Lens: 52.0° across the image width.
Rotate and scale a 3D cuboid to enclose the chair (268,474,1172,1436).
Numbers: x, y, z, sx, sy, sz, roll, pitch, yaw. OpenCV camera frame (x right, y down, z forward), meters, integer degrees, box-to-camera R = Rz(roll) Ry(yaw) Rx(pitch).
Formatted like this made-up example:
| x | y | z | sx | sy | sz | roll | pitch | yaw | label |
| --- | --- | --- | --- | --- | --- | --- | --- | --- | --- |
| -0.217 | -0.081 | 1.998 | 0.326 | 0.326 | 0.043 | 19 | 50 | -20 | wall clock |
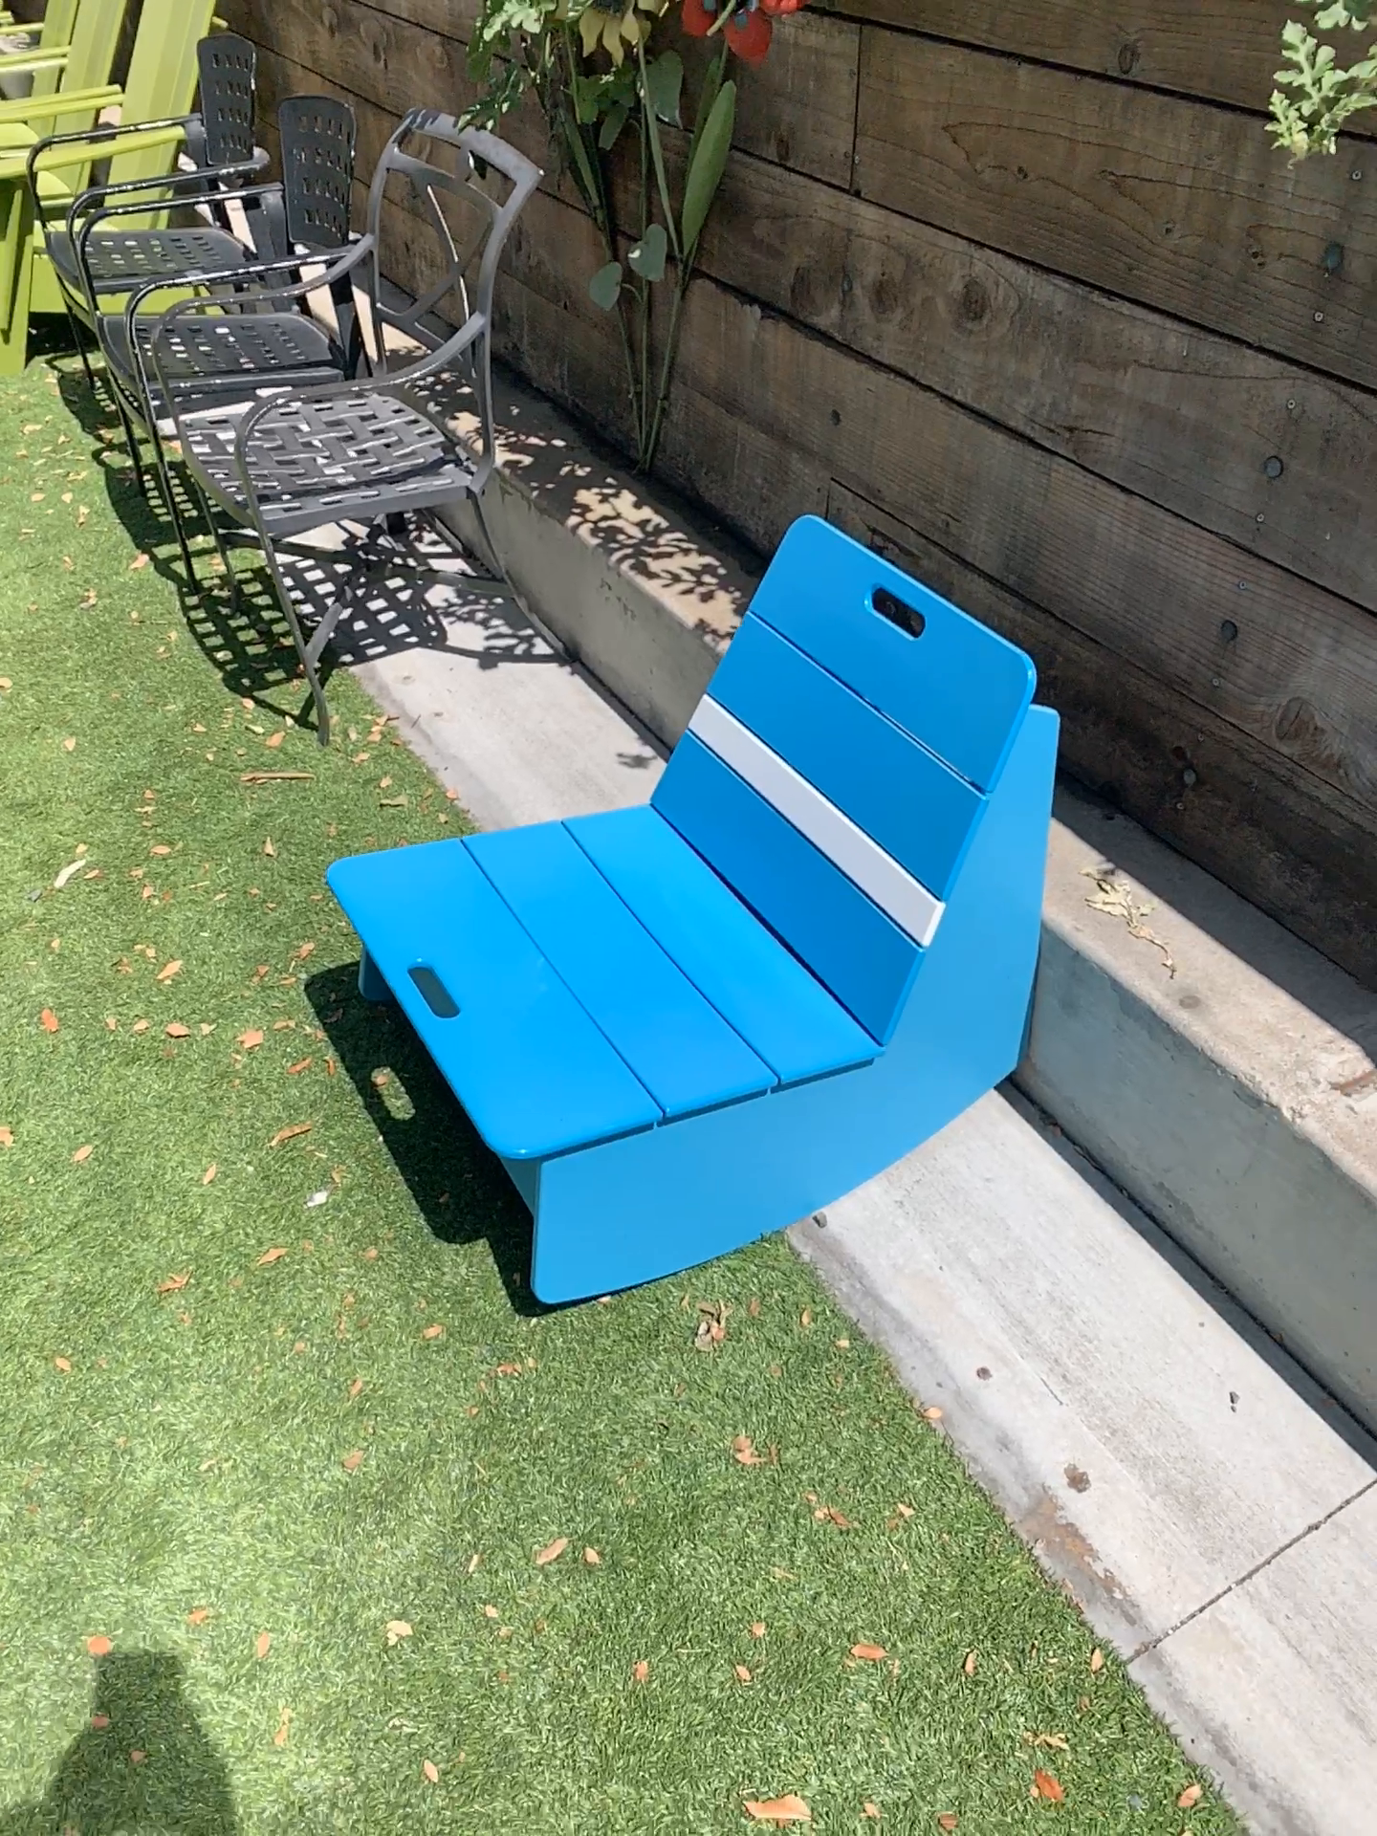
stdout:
| x | y | z | sx | sy | sz | roll | pitch | yaw | label |
| --- | --- | --- | --- | --- | --- | --- | --- | --- | --- |
| 0.016 | 0.018 | 1.672 | 0.720 | 0.746 | 0.593 | -20 | 44 | -19 | chair |
